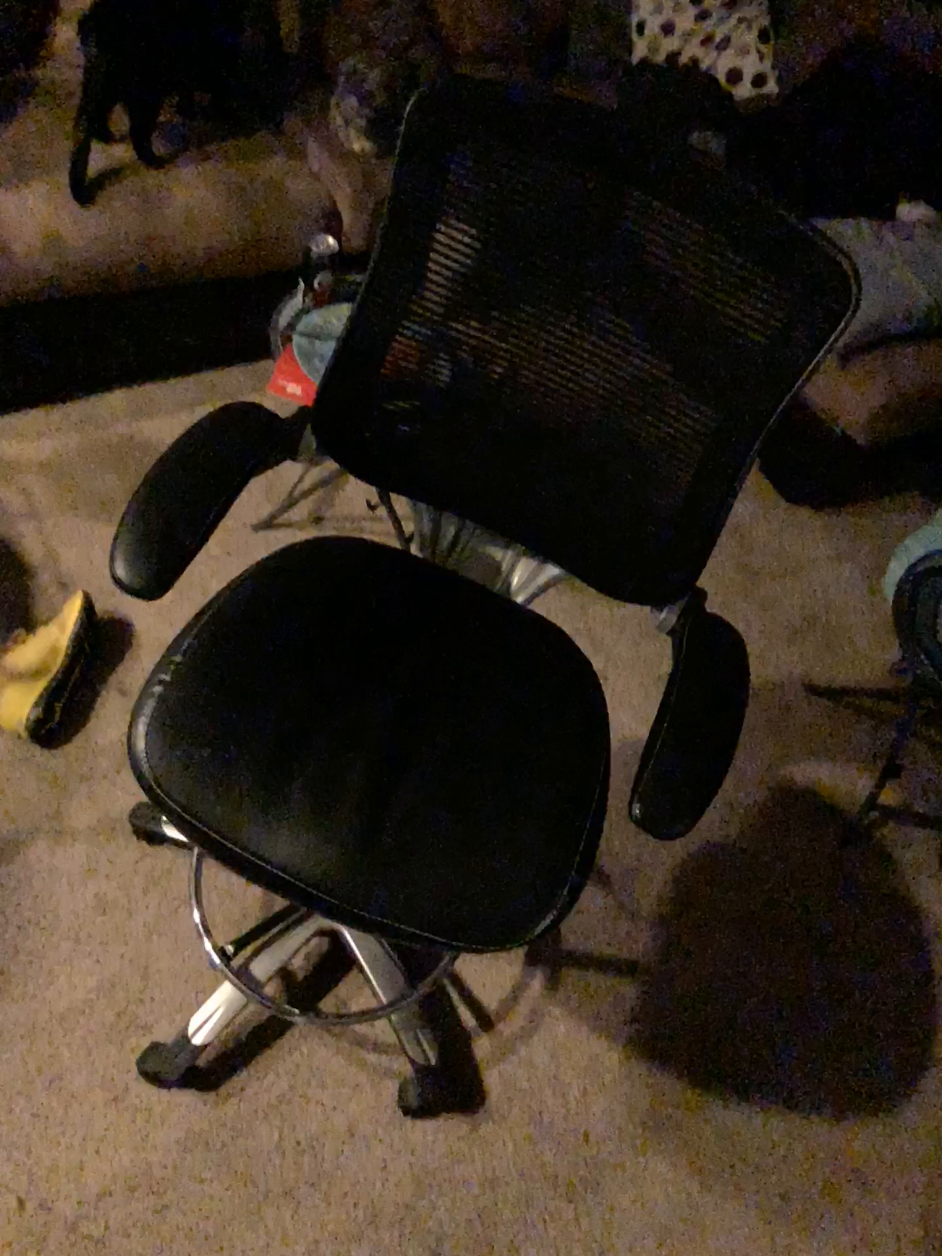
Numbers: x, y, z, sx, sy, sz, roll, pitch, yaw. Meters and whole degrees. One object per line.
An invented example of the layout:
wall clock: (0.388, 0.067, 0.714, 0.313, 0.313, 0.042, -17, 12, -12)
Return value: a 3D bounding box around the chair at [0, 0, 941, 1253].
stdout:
chair: (-0.052, 0.041, 1.309, 0.760, 1.170, 0.930, 25, 50, 2)
